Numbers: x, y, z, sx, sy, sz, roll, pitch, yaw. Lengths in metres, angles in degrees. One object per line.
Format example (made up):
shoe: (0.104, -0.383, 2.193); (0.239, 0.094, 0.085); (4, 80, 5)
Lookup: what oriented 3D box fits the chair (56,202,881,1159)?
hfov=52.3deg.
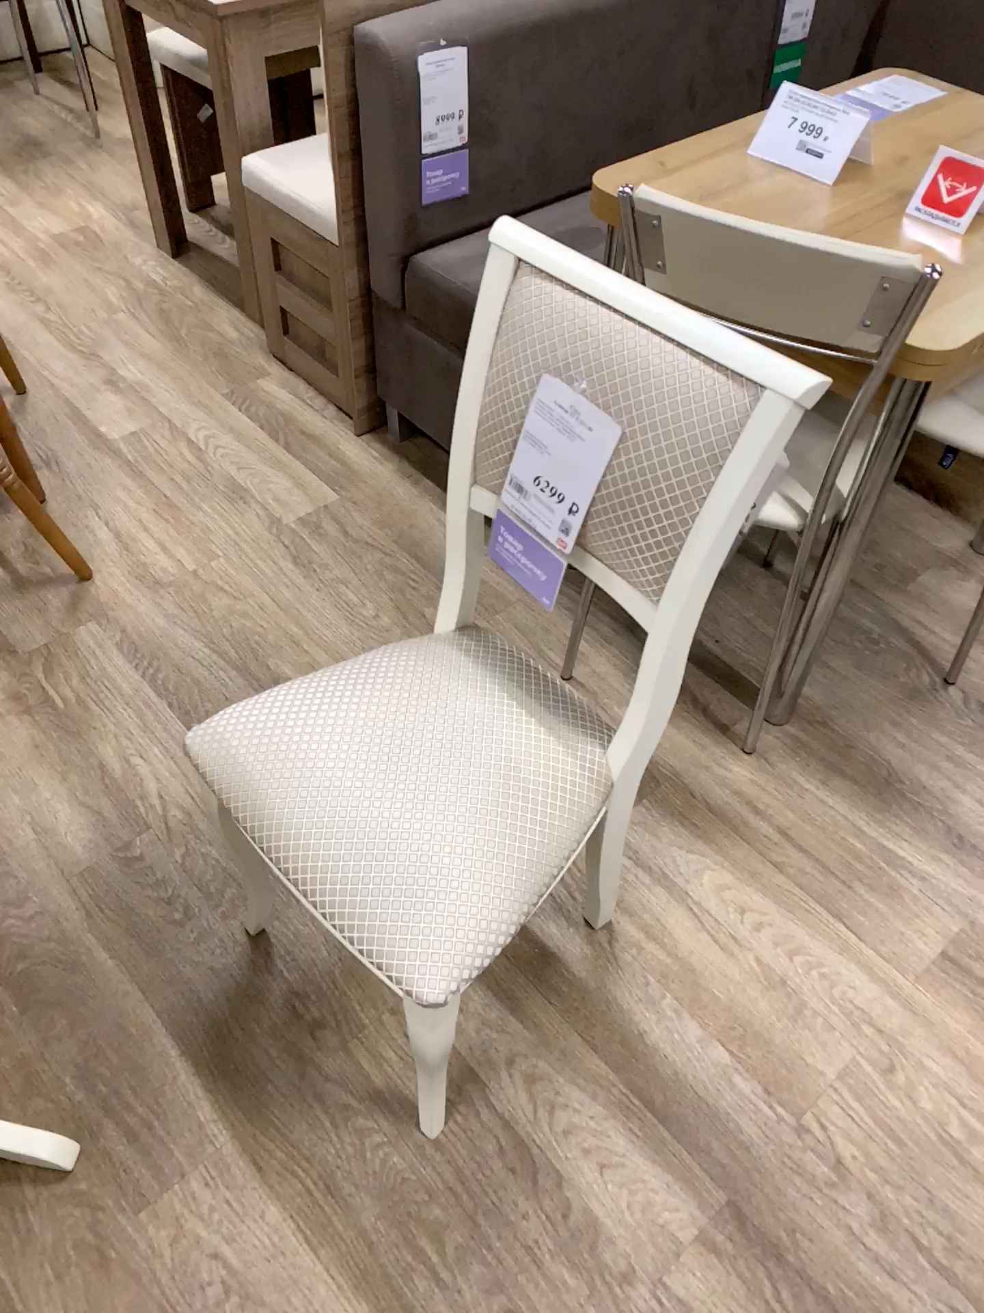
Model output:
chair: (-0.030, 0.082, 1.178); (0.511, 0.926, 0.461); (-35, 59, -30)
